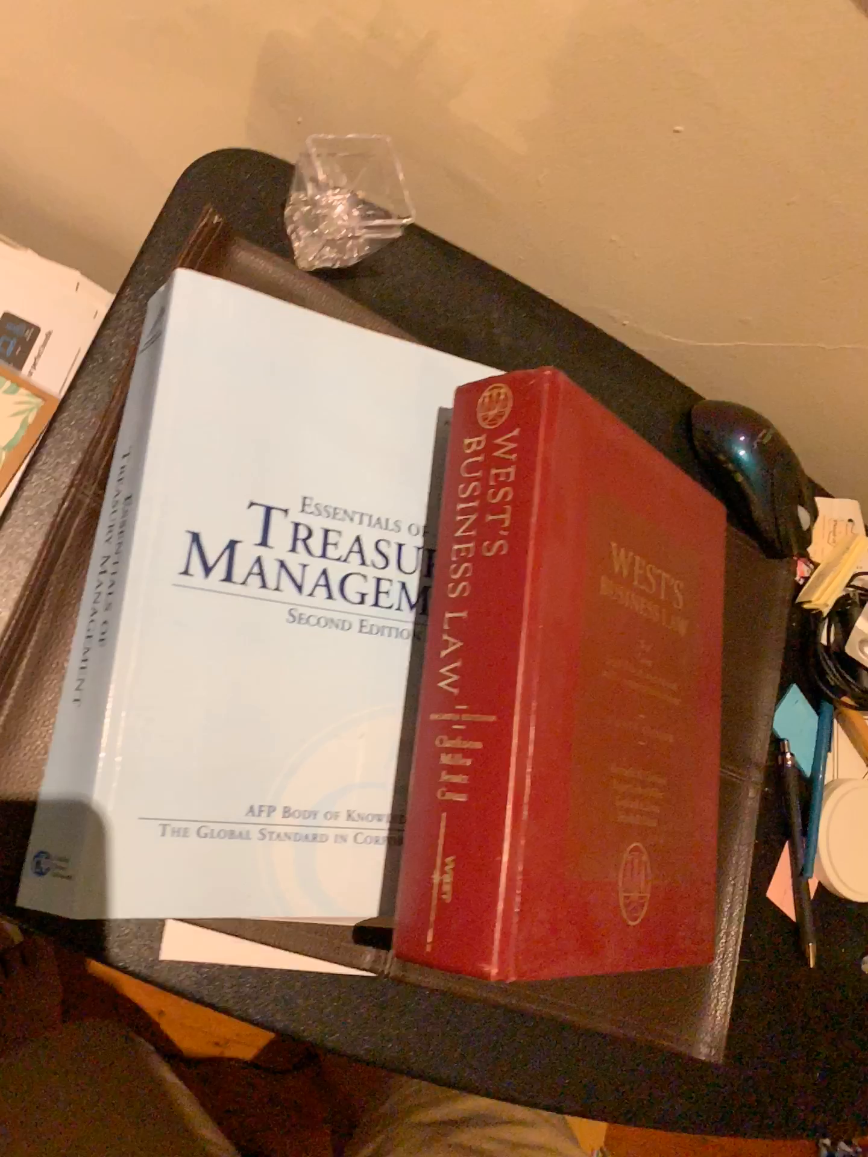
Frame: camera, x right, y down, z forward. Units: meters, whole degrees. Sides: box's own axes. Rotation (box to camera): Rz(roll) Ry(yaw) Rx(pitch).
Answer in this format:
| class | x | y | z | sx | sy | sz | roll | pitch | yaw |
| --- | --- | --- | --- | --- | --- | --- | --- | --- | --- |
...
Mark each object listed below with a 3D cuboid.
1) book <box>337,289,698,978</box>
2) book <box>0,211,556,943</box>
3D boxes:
| class | x | y | z | sx | sy | sz | roll | pitch | yaw |
| --- | --- | --- | --- | --- | --- | --- | --- | --- | --- |
| book | 0.061 | 0.037 | 0.436 | 0.210 | 0.050 | 0.270 | 23 | 68 | -48 |
| book | -0.066 | 0.010 | 0.403 | 0.220 | 0.070 | 0.270 | 14 | 73 | -25 |
